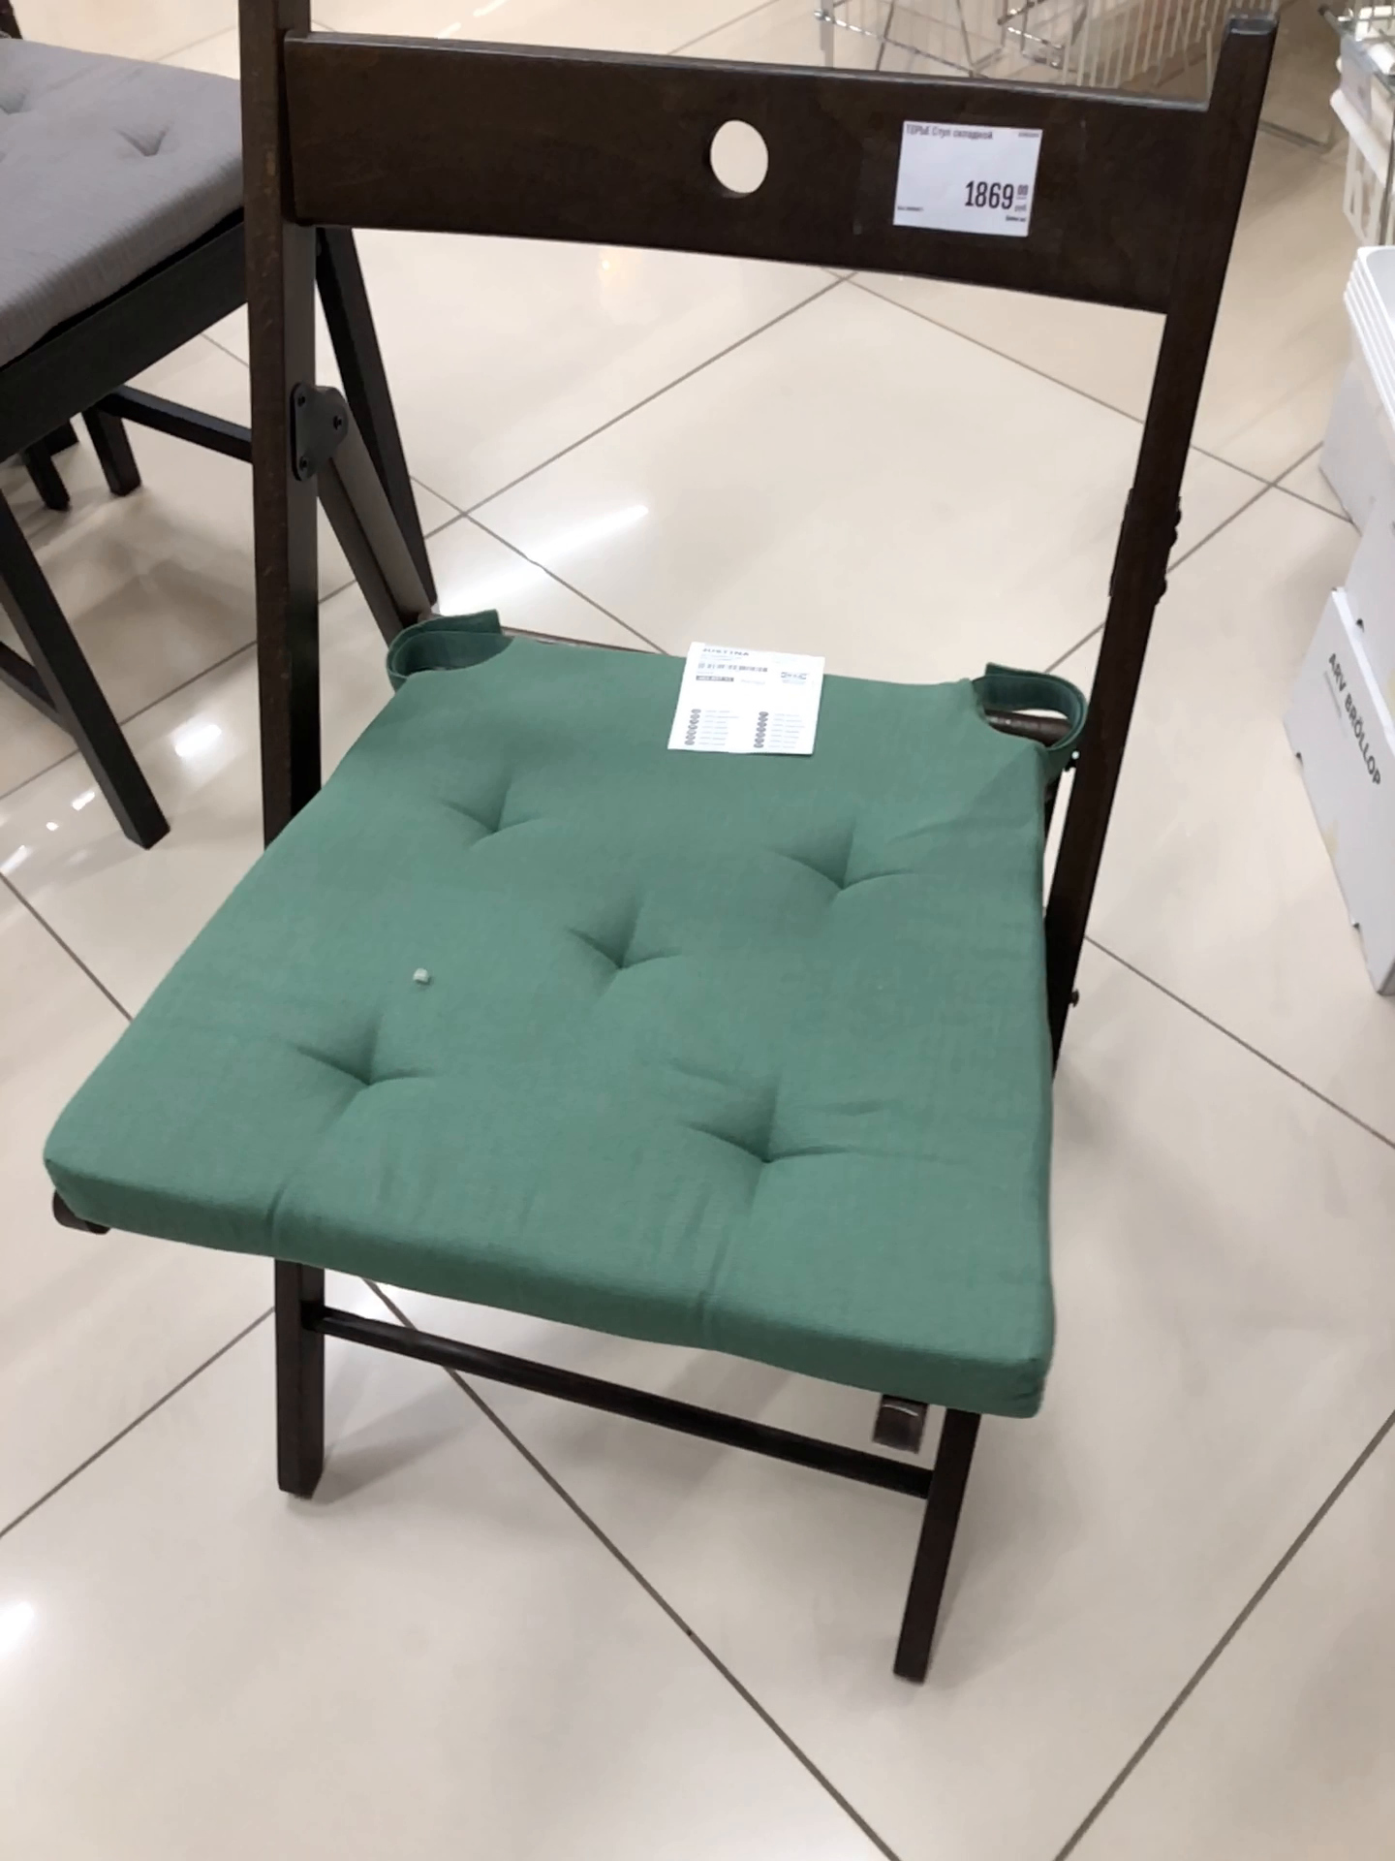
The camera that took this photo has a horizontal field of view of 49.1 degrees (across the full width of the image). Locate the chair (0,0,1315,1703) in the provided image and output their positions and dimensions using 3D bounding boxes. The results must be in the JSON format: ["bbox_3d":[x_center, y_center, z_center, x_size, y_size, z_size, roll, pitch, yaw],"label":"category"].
[{"bbox_3d":[-0.025,-0.009,0.752,0.440,0.686,0.483,11,54,12],"label":"chair"}]
